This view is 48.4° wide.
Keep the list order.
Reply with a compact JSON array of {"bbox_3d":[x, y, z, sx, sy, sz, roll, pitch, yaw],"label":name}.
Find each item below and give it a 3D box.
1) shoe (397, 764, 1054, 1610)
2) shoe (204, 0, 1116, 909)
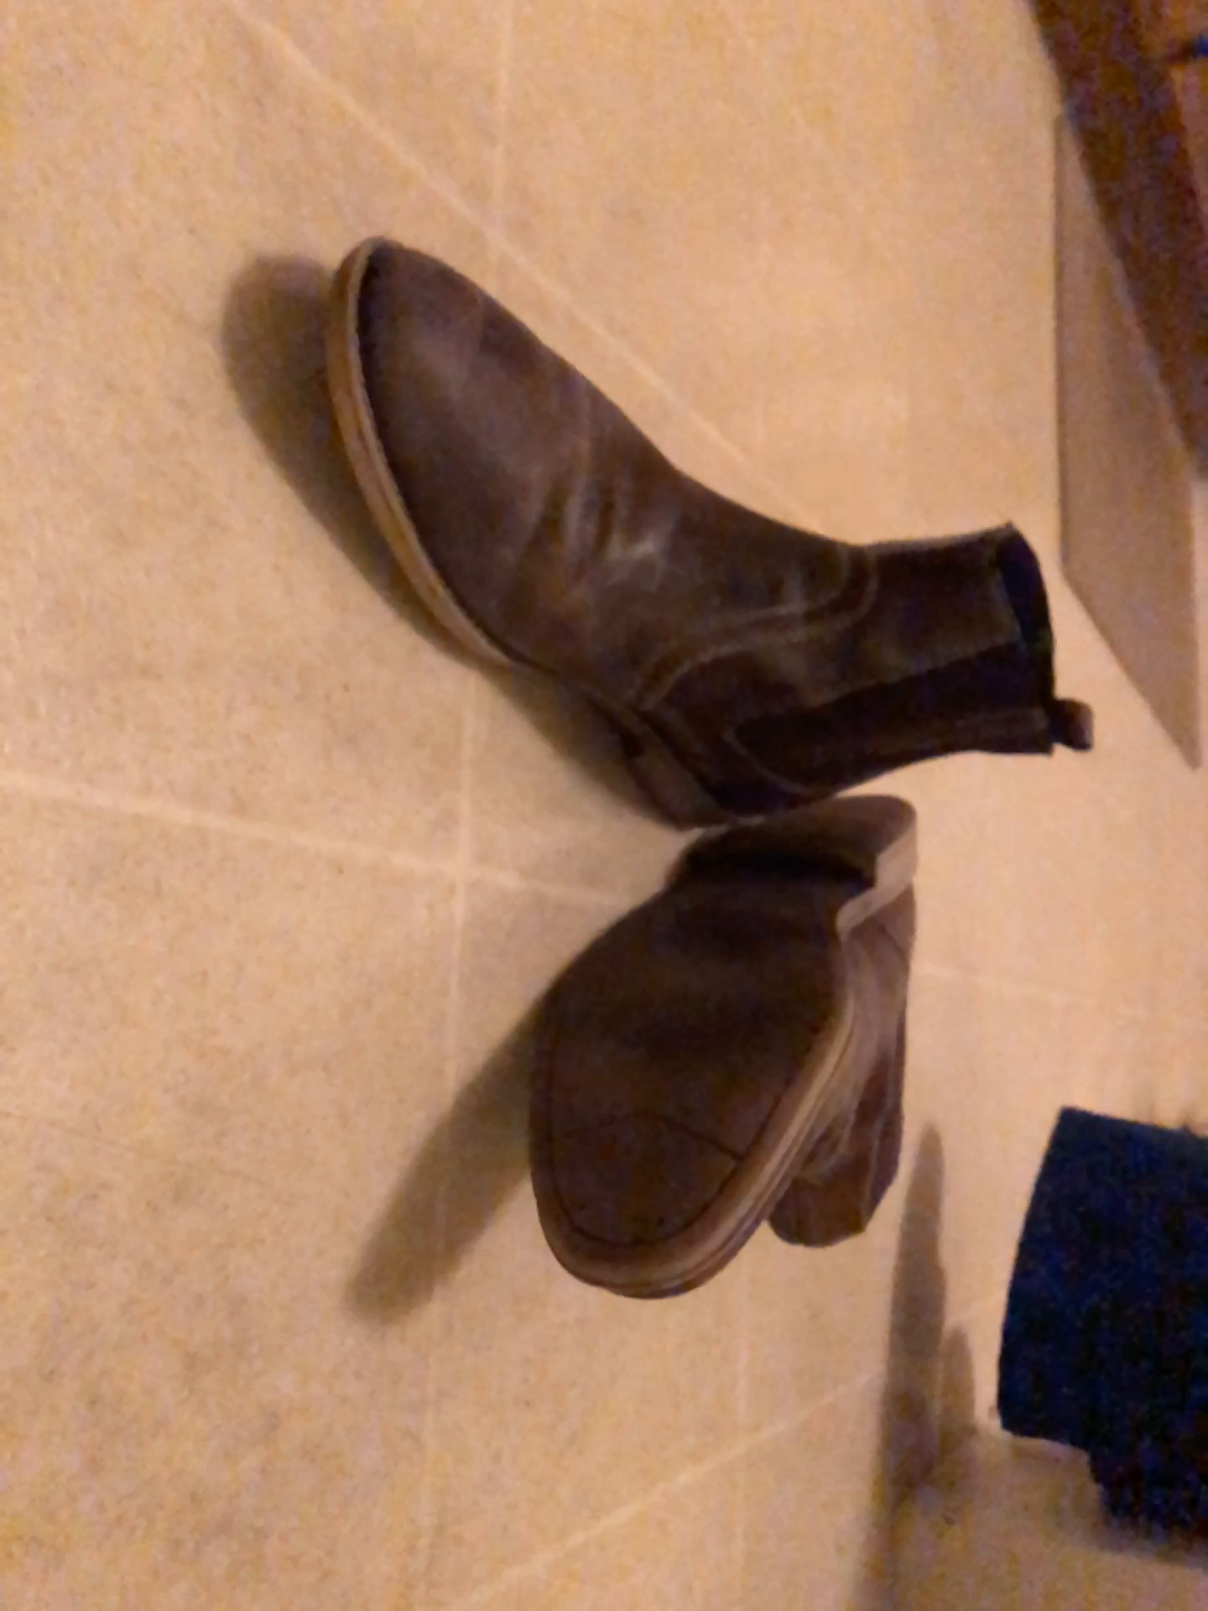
[{"bbox_3d":[0.077,0.116,0.515,0.315,0.111,0.161,-39,121,-54],"label":"shoe"},{"bbox_3d":[0.053,-0.084,0.443,0.314,0.160,0.111,46,49,-48],"label":"shoe"}]
